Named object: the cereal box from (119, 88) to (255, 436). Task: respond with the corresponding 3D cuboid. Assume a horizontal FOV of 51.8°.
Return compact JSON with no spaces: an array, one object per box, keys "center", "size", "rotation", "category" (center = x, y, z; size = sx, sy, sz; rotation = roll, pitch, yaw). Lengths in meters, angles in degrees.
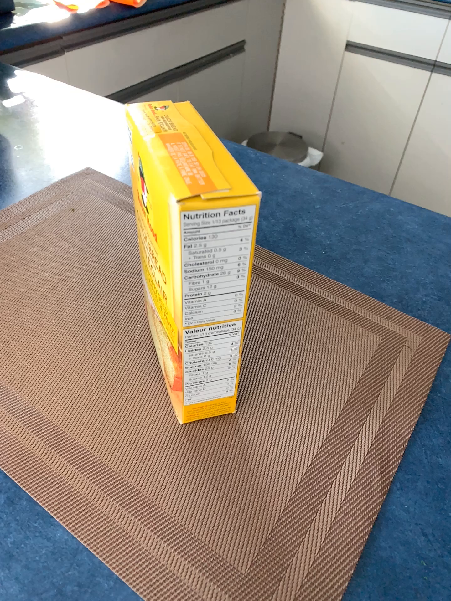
[{"center":[-0.031,-0.021,0.301],"size":[0.040,0.178,0.131],"rotation":[-10,45,-15],"category":"cereal box"}]
